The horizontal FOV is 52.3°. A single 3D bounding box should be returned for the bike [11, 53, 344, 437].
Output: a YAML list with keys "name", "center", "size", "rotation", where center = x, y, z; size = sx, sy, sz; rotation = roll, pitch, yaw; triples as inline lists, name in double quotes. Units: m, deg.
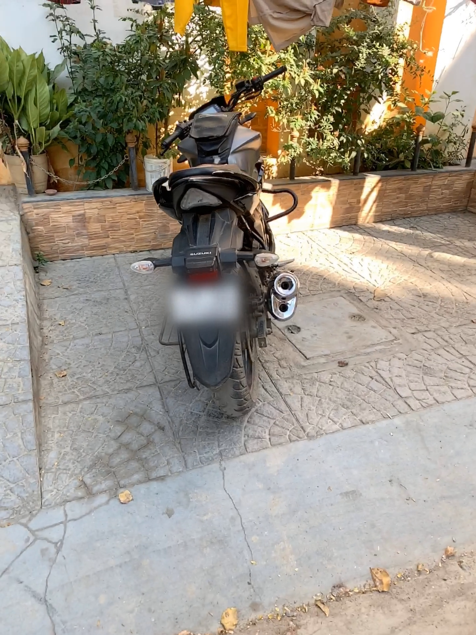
- name: "bike"
  center: [-0.243, -0.499, 2.148]
  size: [0.809, 1.140, 1.631]
  rotation: [-1, 29, -5]
